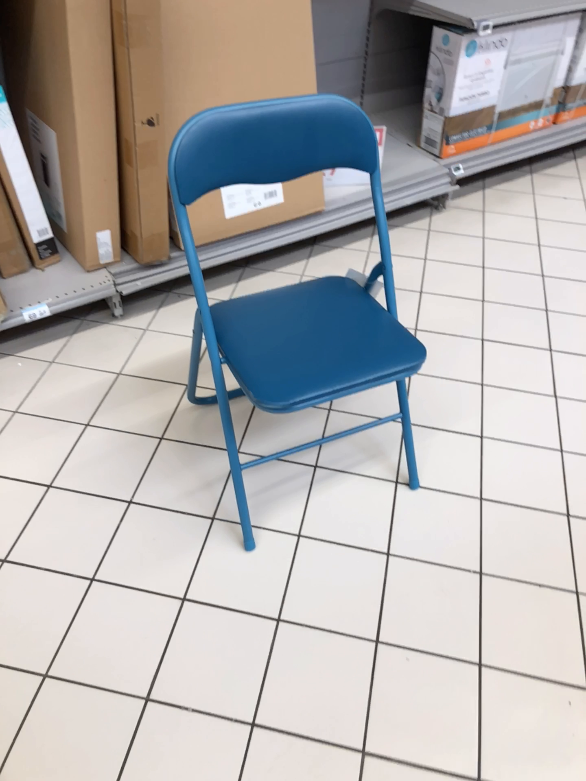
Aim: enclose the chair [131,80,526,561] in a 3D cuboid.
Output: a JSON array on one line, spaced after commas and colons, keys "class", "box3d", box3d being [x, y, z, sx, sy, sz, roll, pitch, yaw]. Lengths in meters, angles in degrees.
[{"class": "chair", "box3d": [0.021, -0.137, 1.340, 0.501, 0.766, 0.502, -15, 47, -17]}]
